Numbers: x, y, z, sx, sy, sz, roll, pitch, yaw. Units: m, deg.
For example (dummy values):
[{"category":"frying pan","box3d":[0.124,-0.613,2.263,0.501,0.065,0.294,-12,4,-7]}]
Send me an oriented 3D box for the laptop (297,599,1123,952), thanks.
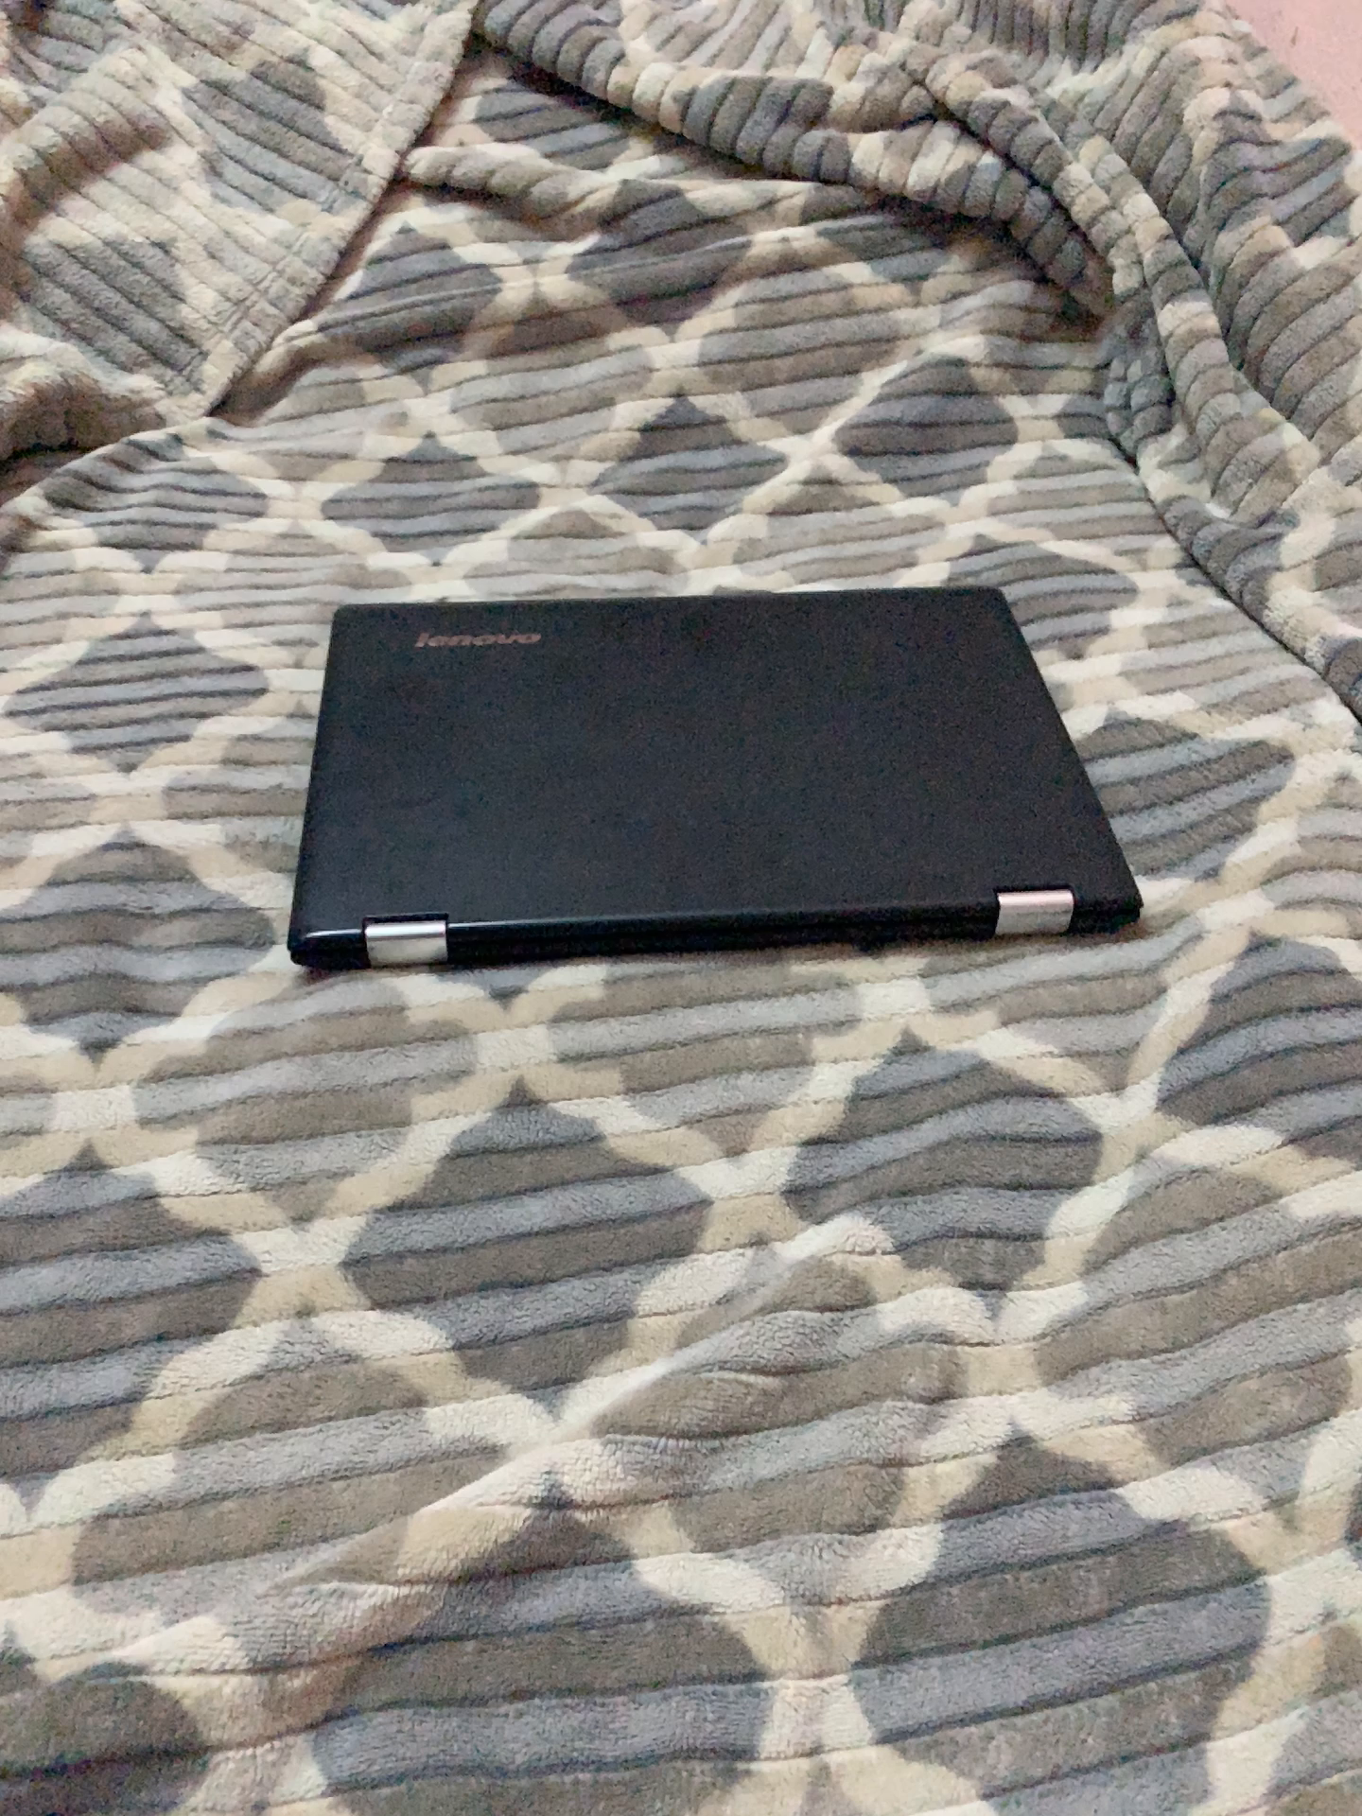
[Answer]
[{"category":"laptop","box3d":[0.007,-0.073,0.648,0.338,0.003,0.229,-3,46,-5]}]
